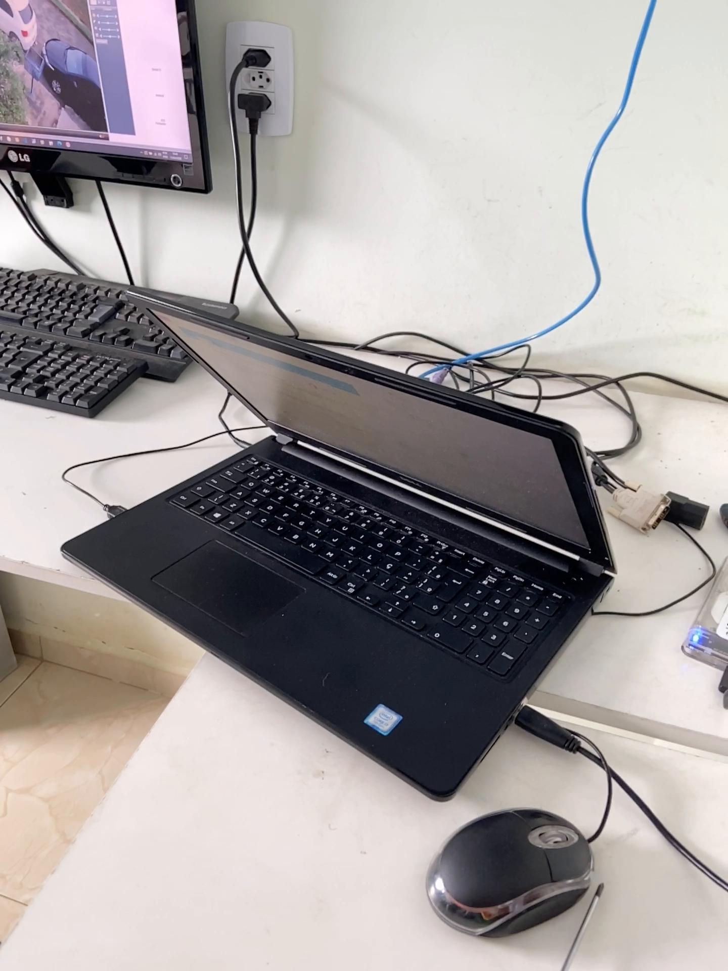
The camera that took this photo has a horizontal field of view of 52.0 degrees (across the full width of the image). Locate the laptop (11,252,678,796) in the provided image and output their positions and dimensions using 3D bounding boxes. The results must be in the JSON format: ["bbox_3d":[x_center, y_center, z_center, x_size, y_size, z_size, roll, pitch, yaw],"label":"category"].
[{"bbox_3d":[-0.018,-0.017,0.559,0.372,0.192,0.256,24,37,29],"label":"laptop"}]
